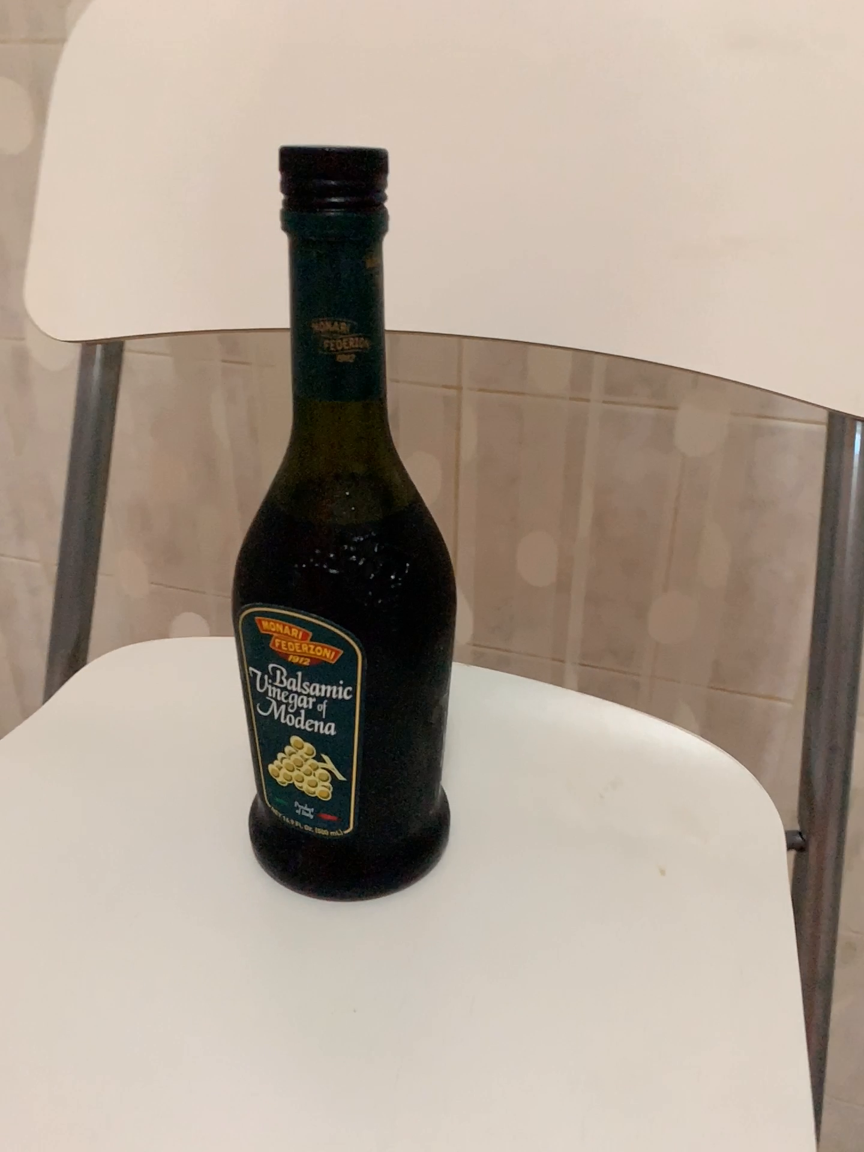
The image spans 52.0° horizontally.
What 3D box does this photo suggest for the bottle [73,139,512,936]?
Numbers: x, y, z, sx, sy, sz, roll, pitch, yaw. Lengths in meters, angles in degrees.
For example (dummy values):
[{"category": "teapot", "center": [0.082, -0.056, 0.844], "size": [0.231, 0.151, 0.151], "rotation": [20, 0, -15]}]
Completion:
[{"category": "bottle", "center": [-0.034, -0.009, 0.297], "size": [0.090, 0.243, 0.080], "rotation": [11, 30, 19]}]
